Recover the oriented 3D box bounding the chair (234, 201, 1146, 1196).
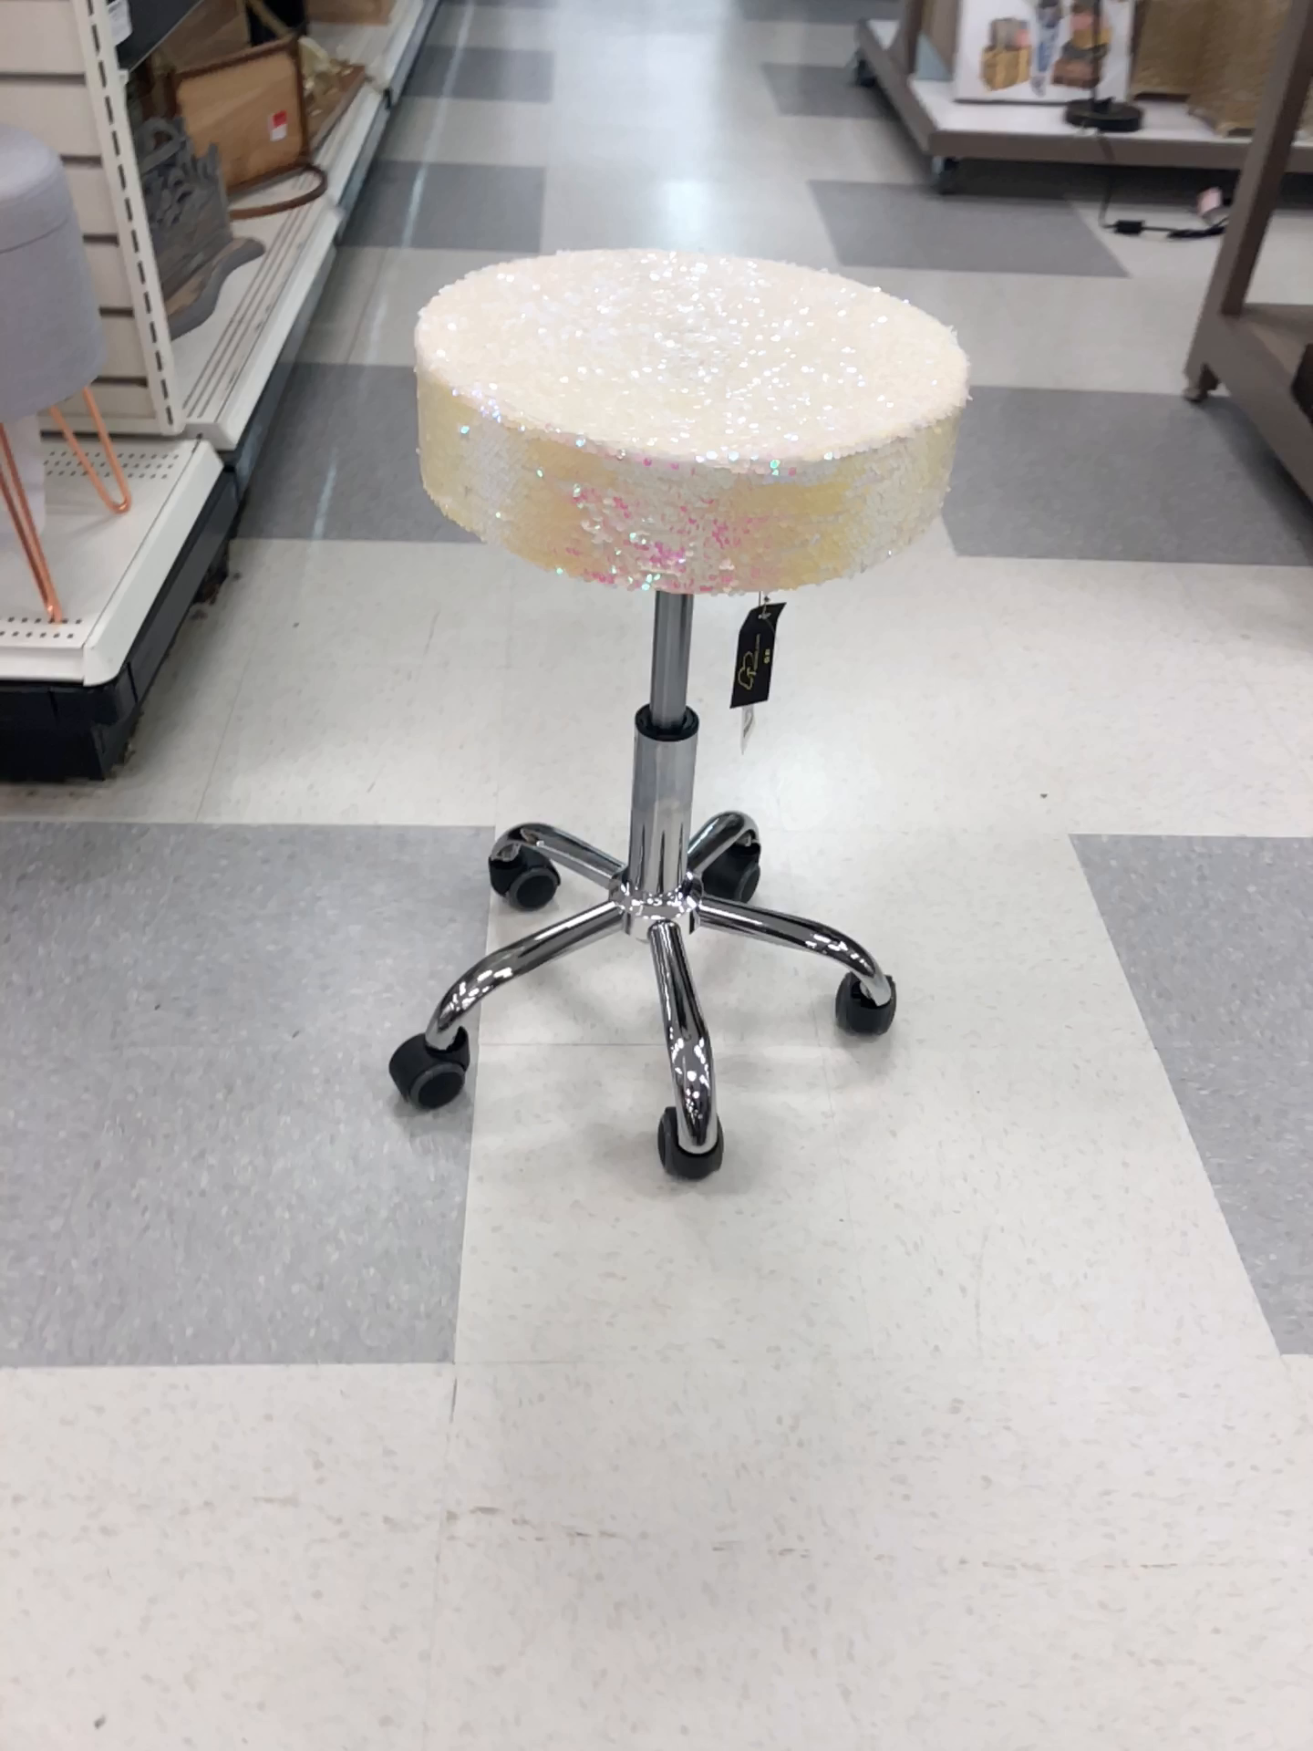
[{"bbox_3d":[-0.001,-0.126,1.088,0.465,0.591,0.439,0,40,-4],"label":"chair"}]

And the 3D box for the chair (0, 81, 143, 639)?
[{"bbox_3d":[-0.687,-0.459,1.291,0.305,0.382,0.308,0,40,-4],"label":"chair"}]
